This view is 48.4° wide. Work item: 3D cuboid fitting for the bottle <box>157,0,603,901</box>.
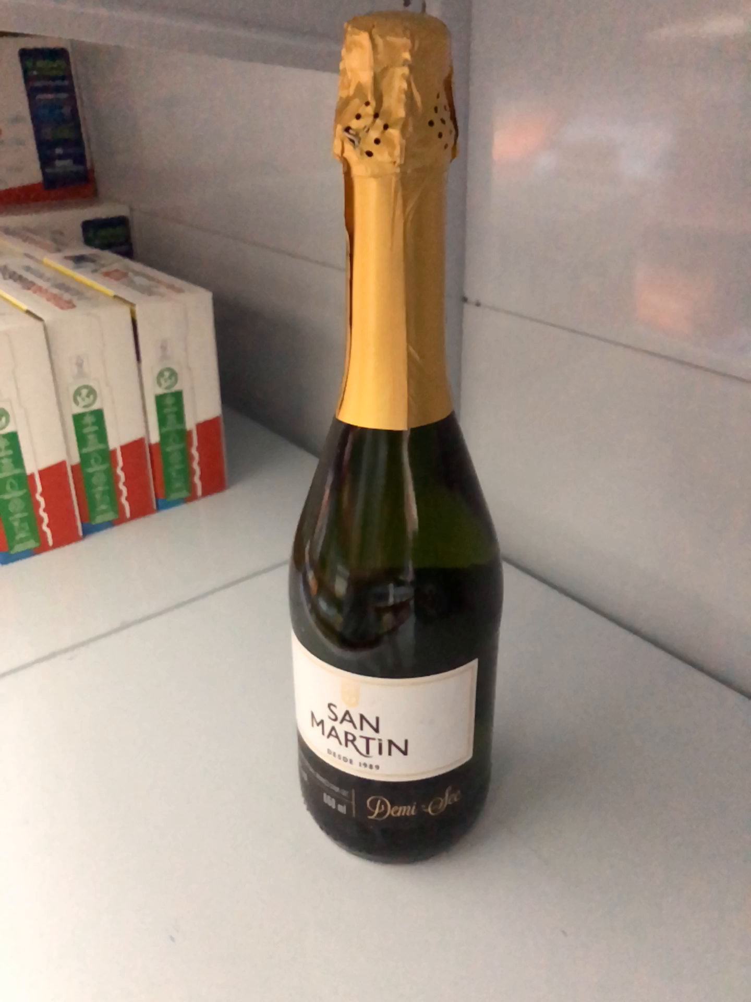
[{"bbox_3d":[0.007,-0.015,0.289,0.090,0.308,0.081,12,30,24],"label":"bottle"}]
